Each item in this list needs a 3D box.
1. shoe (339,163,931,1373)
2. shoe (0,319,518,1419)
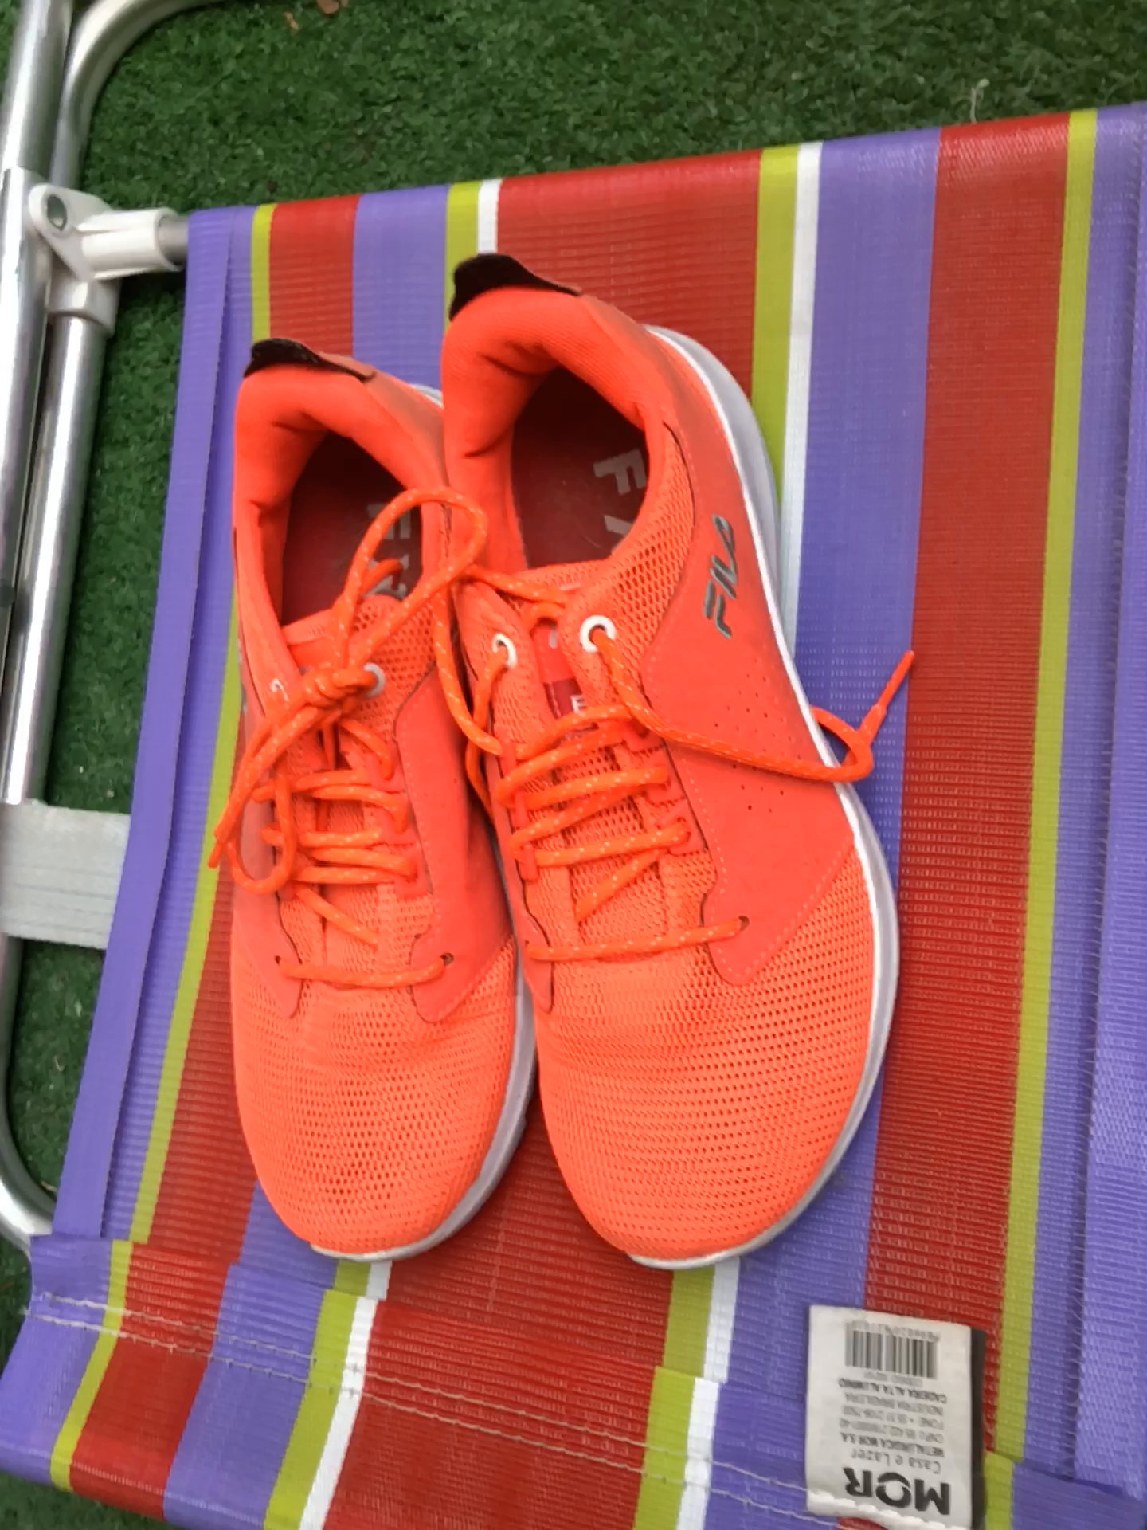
[{"bbox_3d":[0.016,0.003,0.319,0.100,0.090,0.250,-9,80,22],"label":"shoe"},{"bbox_3d":[-0.079,0.024,0.328,0.100,0.100,0.230,-4,81,16],"label":"shoe"}]
